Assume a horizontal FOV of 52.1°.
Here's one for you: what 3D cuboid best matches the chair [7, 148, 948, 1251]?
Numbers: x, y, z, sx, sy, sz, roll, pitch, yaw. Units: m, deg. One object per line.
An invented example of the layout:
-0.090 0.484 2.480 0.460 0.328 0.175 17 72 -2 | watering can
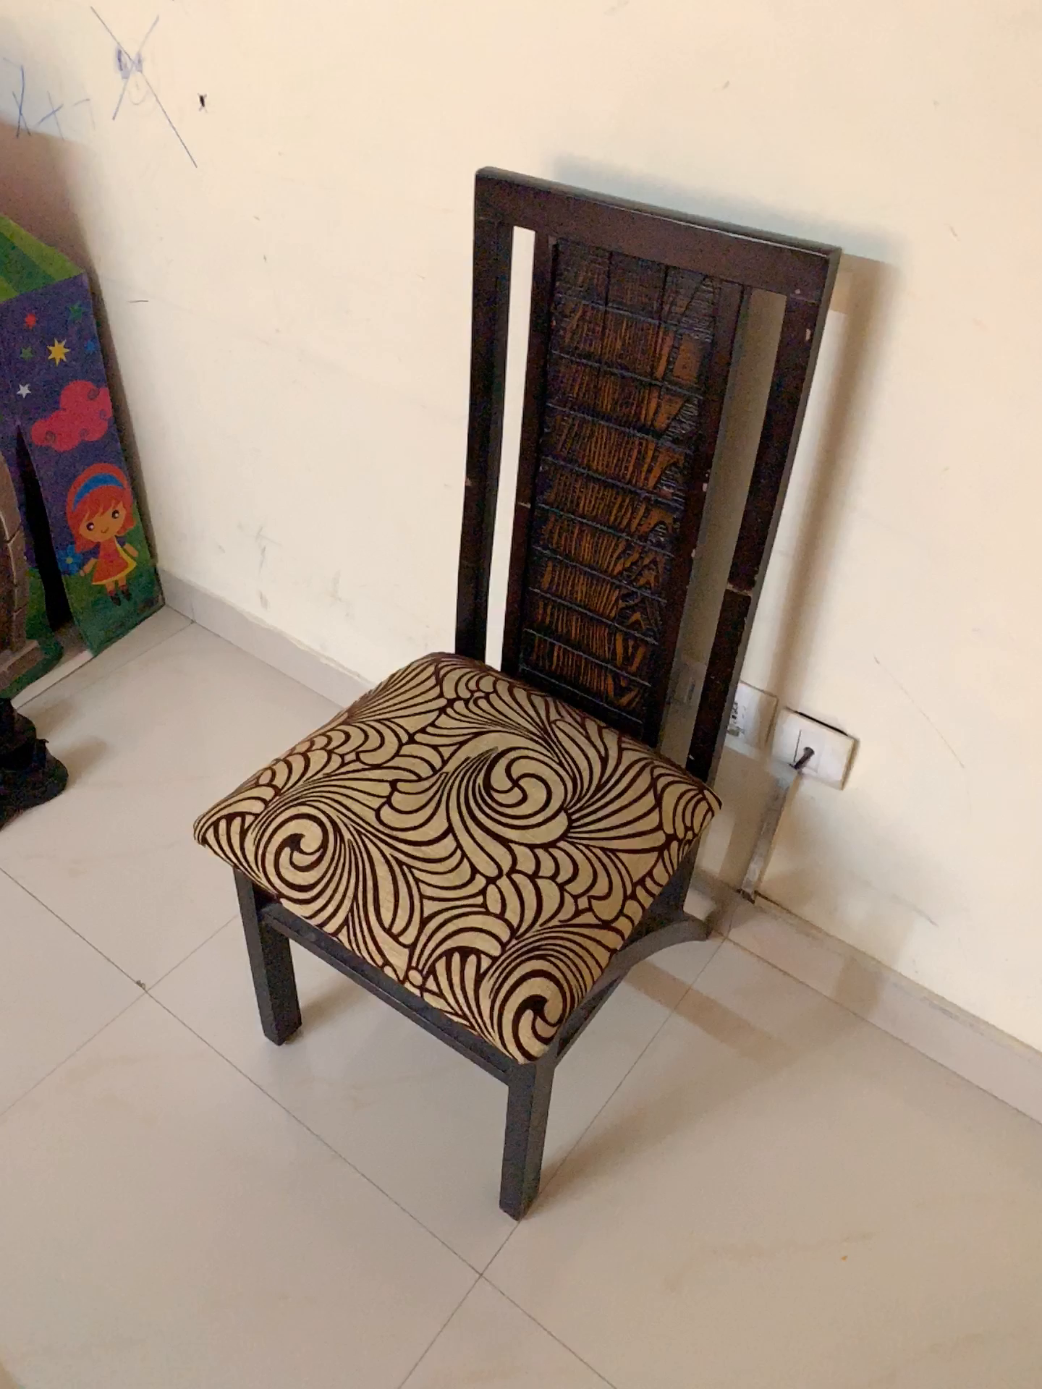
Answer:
-0.016 0.008 1.172 0.531 0.922 0.584 25 46 24 | chair
